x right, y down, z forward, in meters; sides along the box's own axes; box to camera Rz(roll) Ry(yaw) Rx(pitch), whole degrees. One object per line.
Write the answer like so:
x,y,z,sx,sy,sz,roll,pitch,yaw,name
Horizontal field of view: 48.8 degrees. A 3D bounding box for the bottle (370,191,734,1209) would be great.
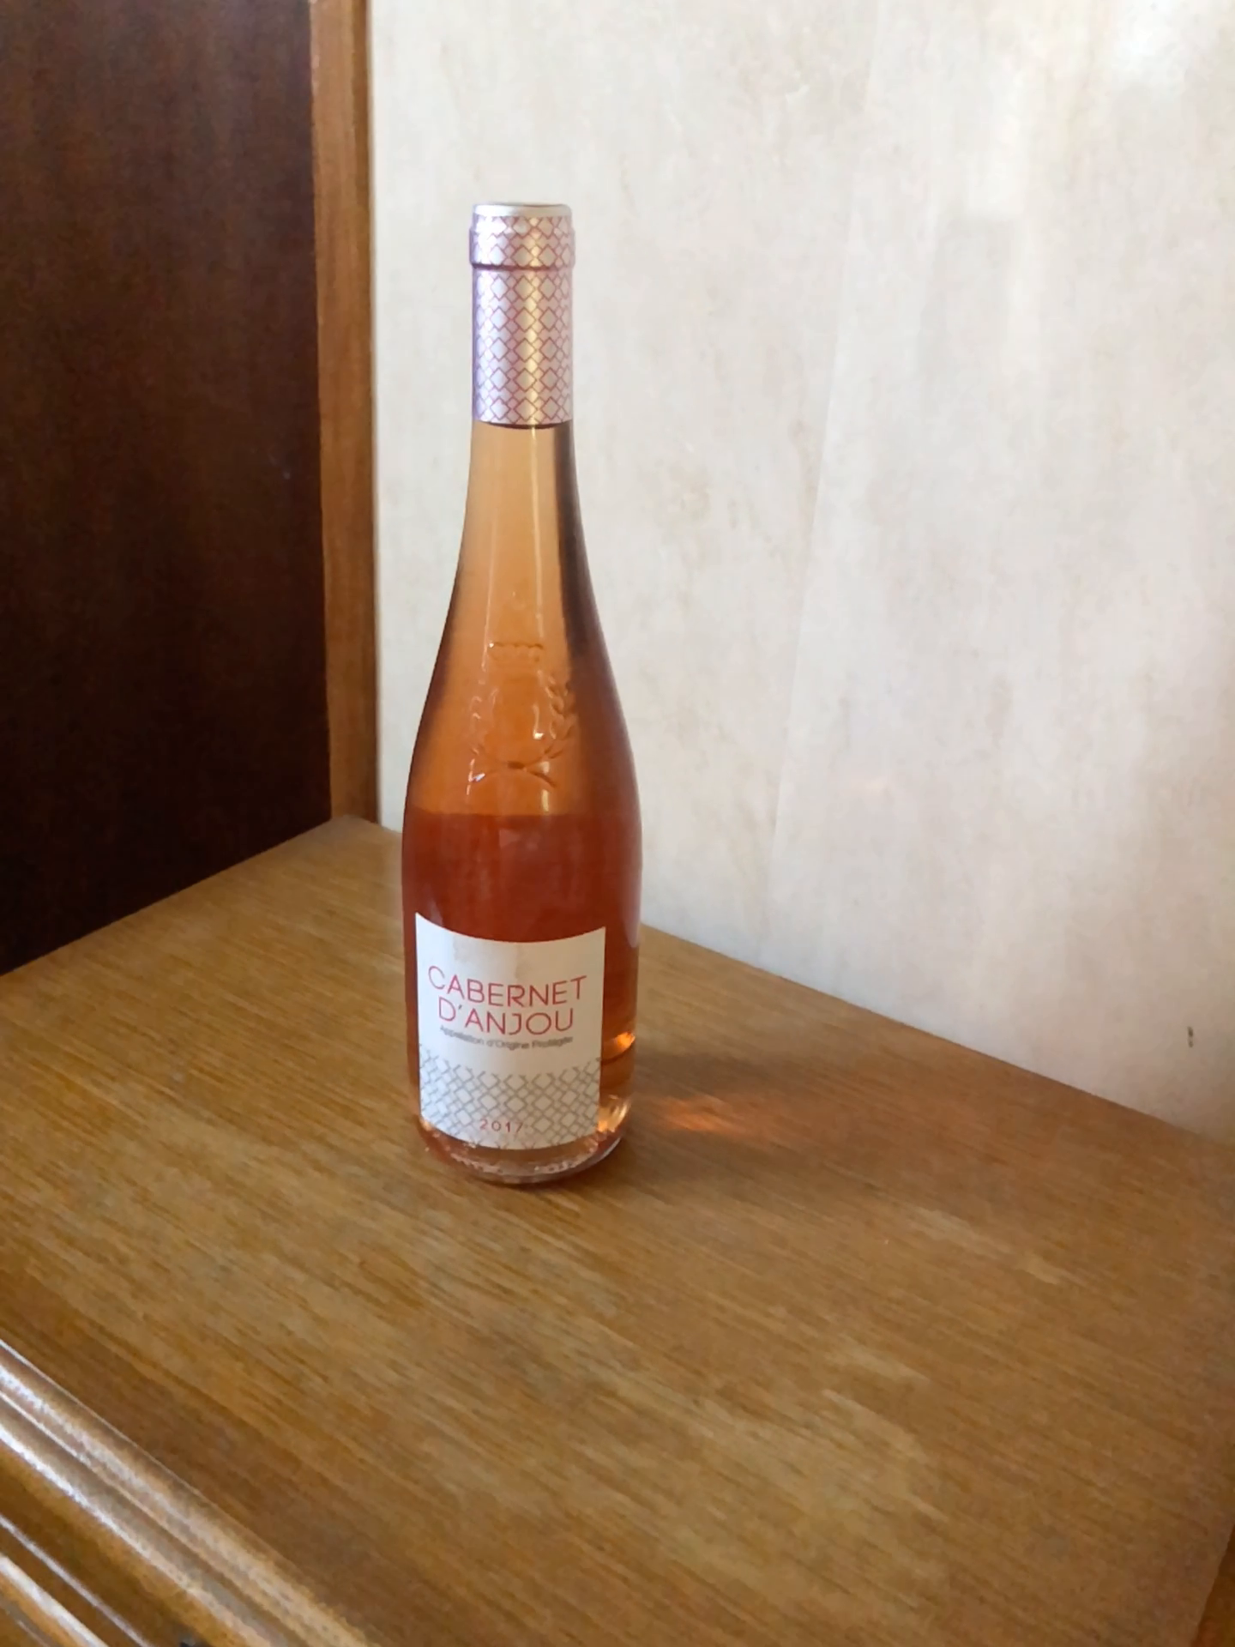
-0.022,-0.032,0.429,0.080,0.298,0.091,7,25,8,bottle
